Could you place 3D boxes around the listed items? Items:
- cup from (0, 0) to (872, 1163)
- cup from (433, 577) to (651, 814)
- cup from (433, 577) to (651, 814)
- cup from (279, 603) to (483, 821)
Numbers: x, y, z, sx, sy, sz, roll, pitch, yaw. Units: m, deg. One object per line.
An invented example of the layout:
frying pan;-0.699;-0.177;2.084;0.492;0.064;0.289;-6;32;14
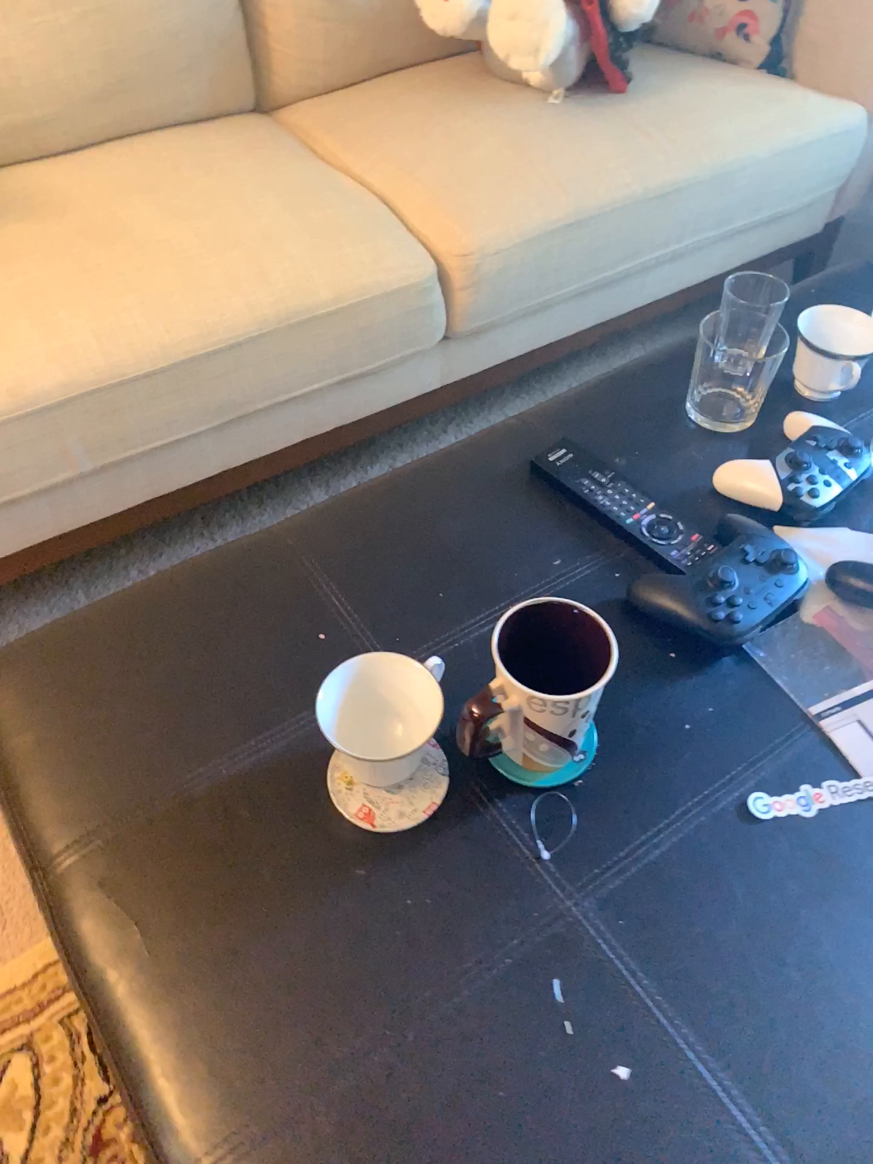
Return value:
cup;0.070;0.081;0.638;39.280;9.453;0.298;-24;55;-20
cup;0.070;0.081;0.638;0.120;0.109;0.080;-24;55;-20
cup;0.070;0.081;0.638;0.120;0.109;0.080;-24;55;-20
cup;-0.039;0.092;0.646;0.110;0.070;0.090;-35;59;-27
